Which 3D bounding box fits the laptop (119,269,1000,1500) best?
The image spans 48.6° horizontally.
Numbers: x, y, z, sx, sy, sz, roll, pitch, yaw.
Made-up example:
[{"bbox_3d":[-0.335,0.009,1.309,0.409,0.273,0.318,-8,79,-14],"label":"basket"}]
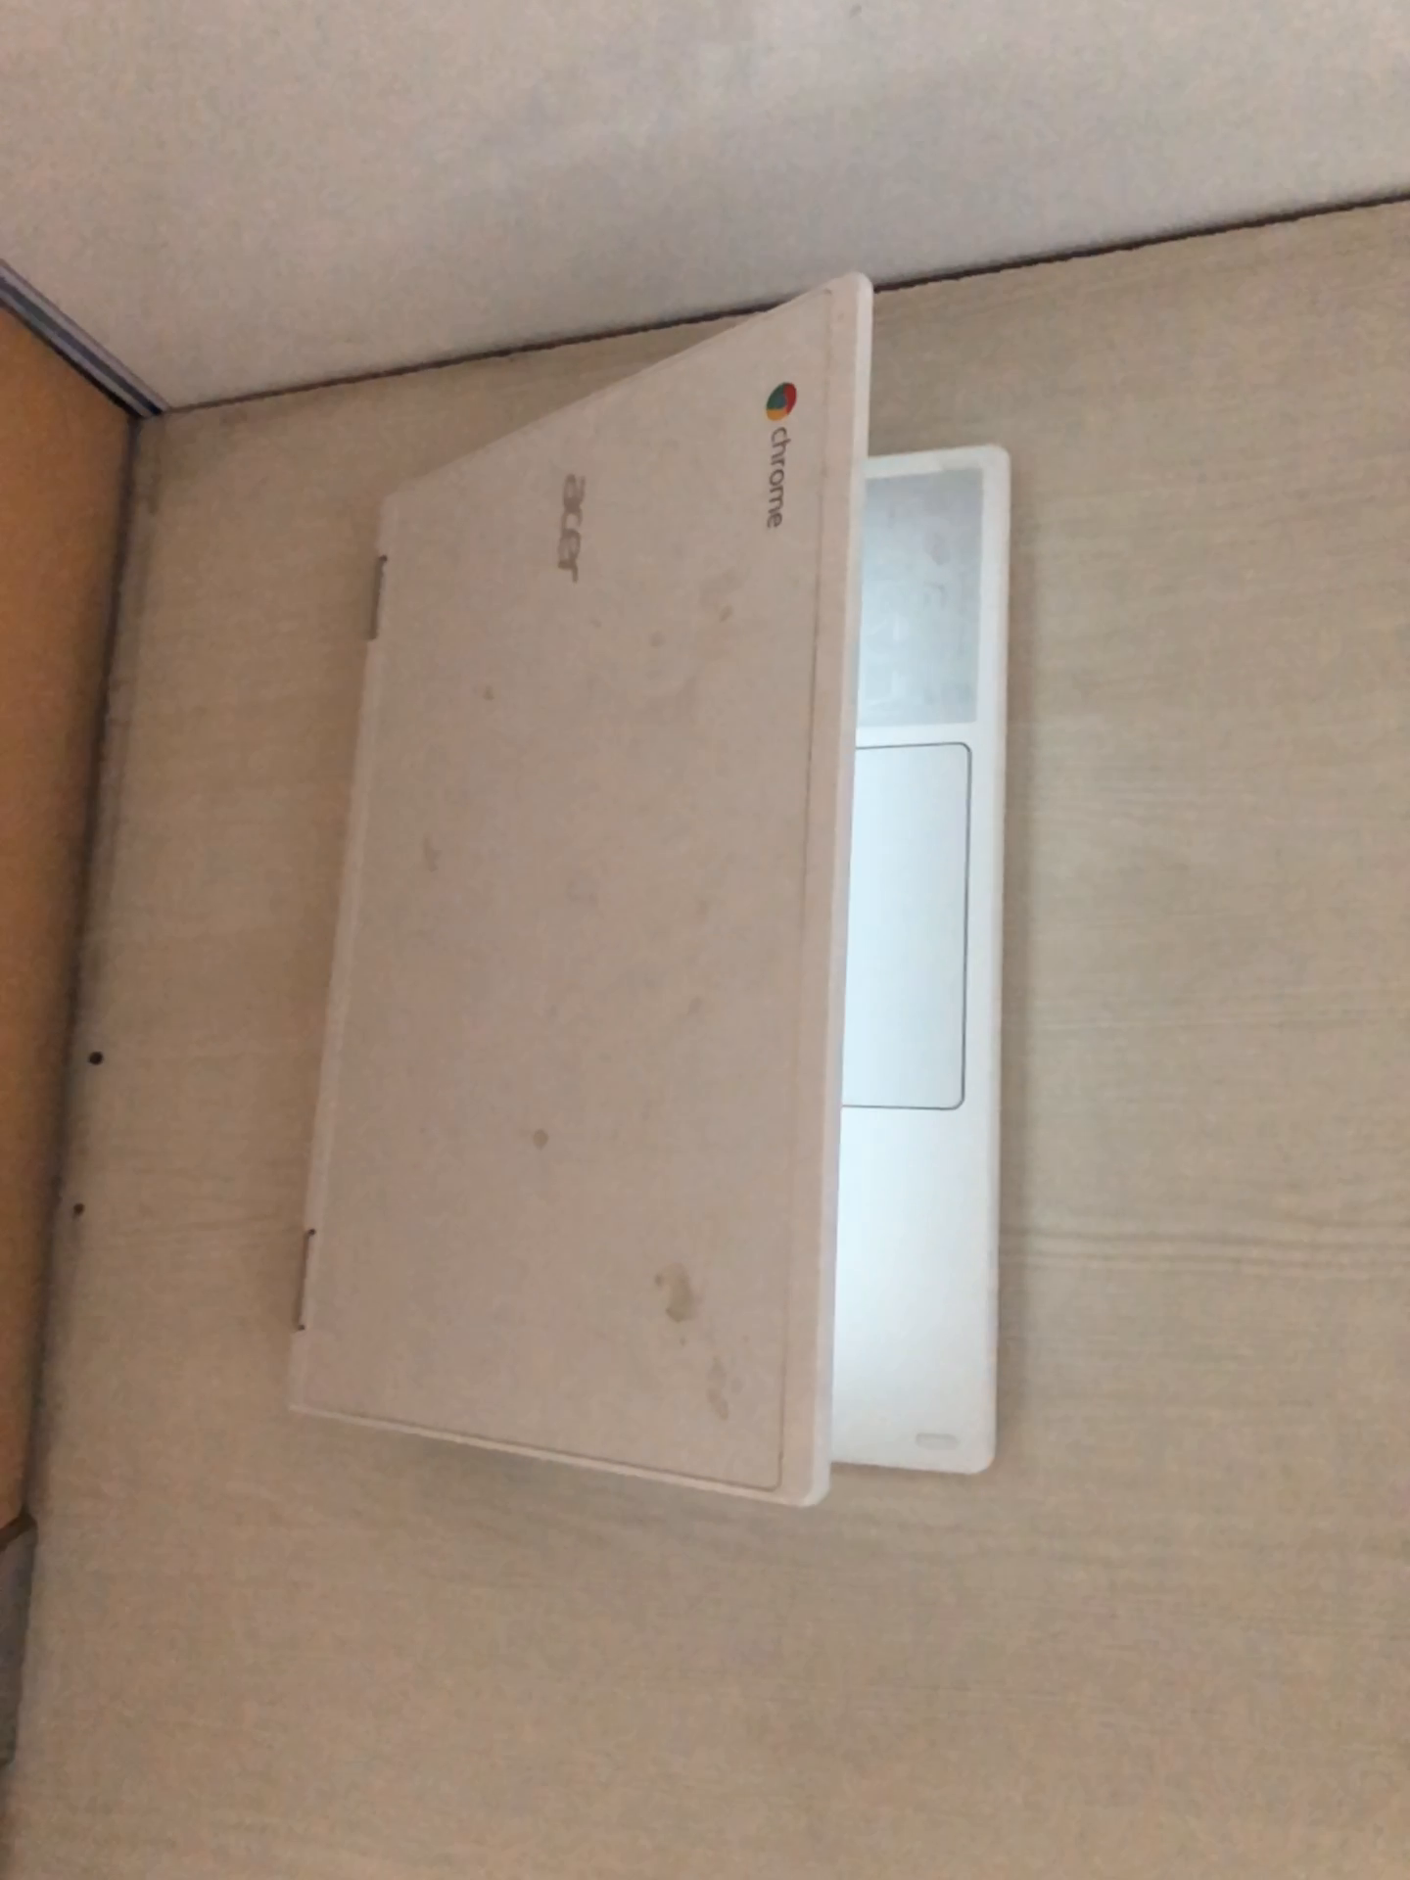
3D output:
[{"bbox_3d":[-0.030,-0.012,0.426,0.200,0.092,0.283,-1,77,20],"label":"laptop"}]
